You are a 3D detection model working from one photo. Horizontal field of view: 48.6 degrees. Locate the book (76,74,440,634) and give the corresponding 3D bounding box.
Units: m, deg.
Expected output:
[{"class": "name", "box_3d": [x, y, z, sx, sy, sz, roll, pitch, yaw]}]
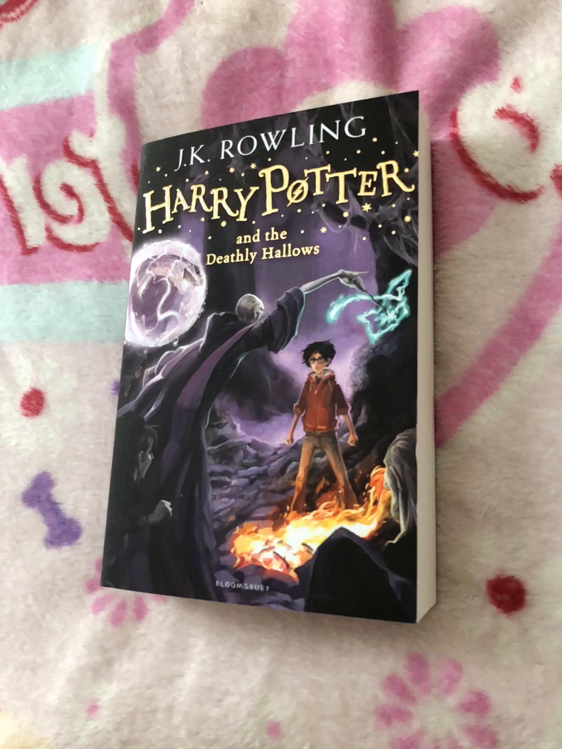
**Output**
[{"class": "book", "box_3d": [-0.004, -0.007, 0.255, 0.126, 0.060, 0.187, -2, 79, 23]}]
